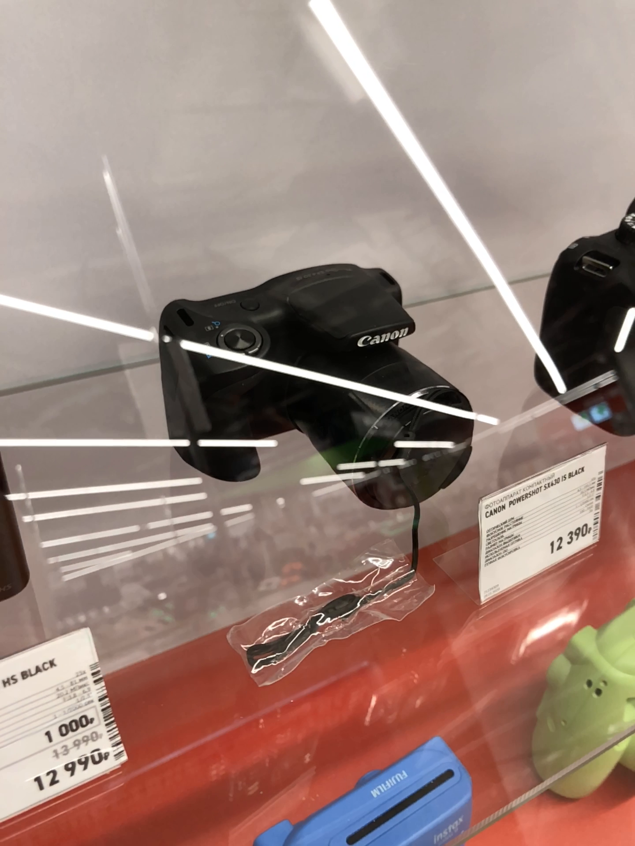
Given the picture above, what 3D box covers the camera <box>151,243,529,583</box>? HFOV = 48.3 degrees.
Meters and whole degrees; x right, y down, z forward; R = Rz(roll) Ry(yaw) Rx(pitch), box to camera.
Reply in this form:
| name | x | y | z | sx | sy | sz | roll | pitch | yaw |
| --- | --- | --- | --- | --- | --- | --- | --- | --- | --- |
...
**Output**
| name | x | y | z | sx | sy | sz | roll | pitch | yaw |
| --- | --- | --- | --- | --- | --- | --- | --- | --- | --- |
| camera | 0.004 | -0.011 | 0.286 | 0.113 | 0.080 | 0.086 | -15 | 40 | -25 |
